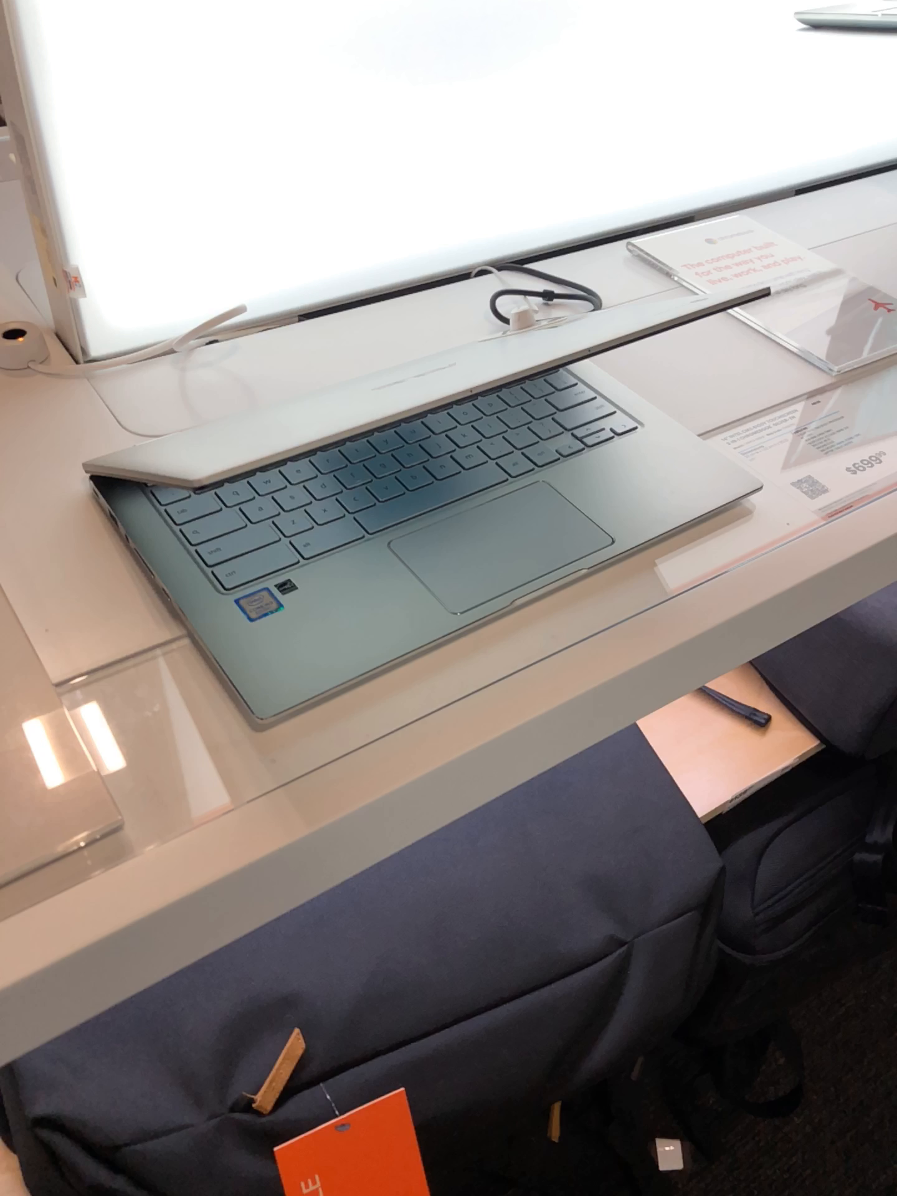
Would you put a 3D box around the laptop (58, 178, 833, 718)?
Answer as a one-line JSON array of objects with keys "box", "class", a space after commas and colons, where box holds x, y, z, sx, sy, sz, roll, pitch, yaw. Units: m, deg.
[{"box": [-0.001, -0.100, 0.503, 0.311, 0.102, 0.193, -24, 50, -25], "class": "laptop"}]
